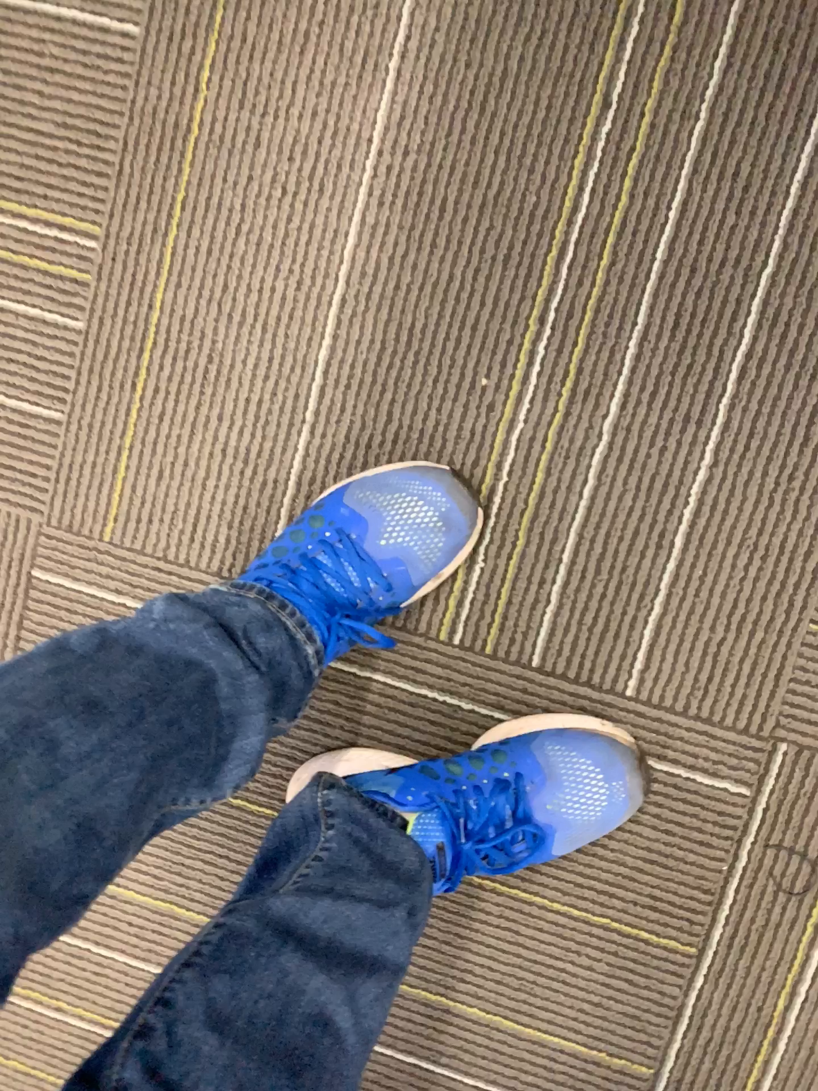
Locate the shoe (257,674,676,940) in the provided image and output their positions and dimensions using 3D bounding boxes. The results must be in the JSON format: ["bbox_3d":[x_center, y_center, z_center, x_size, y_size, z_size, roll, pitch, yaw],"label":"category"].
[{"bbox_3d":[0.044,0.213,0.681,0.300,0.077,0.128,-16,94,10],"label":"shoe"}]

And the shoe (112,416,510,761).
[{"bbox_3d":[-0.077,0.035,0.683,0.298,0.077,0.125,-35,91,11],"label":"shoe"}]
